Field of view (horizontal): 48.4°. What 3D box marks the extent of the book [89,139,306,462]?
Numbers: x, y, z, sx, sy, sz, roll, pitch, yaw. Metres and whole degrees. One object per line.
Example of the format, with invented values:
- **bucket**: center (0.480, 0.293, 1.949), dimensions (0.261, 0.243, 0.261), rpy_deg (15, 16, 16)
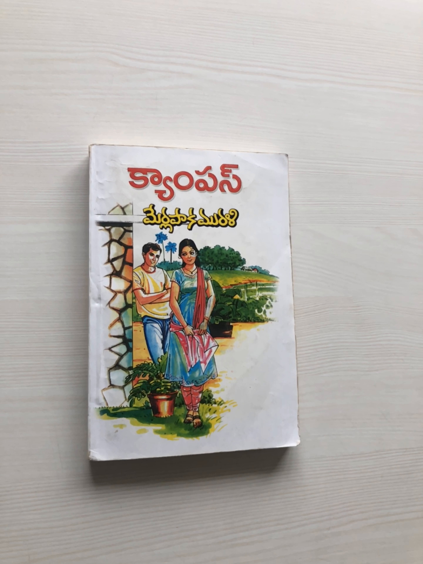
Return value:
- **book**: center (-0.008, 0.007, 0.257), dimensions (0.113, 0.016, 0.164), rpy_deg (0, 85, -12)
